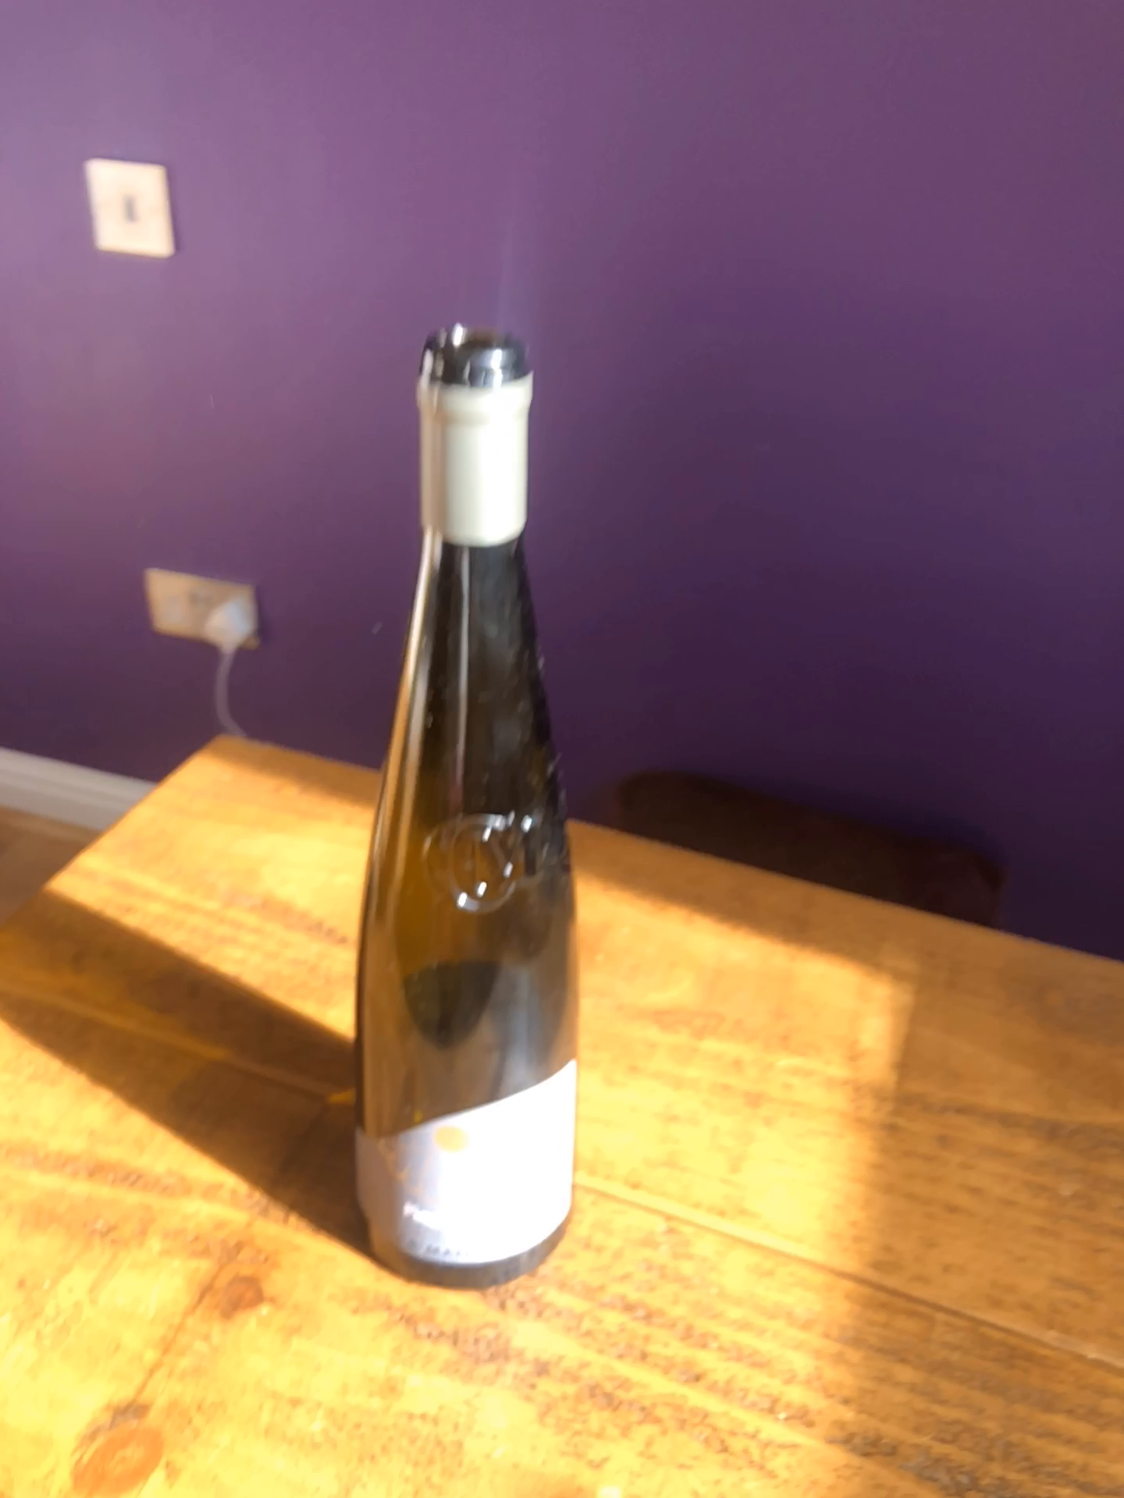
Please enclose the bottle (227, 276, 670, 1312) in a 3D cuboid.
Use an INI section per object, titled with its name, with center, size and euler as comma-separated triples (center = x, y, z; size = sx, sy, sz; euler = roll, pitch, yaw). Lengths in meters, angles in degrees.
[bottle]
center = -0.039, 0.032, 0.416
size = 0.100, 0.338, 0.101
euler = 2, 32, -1
